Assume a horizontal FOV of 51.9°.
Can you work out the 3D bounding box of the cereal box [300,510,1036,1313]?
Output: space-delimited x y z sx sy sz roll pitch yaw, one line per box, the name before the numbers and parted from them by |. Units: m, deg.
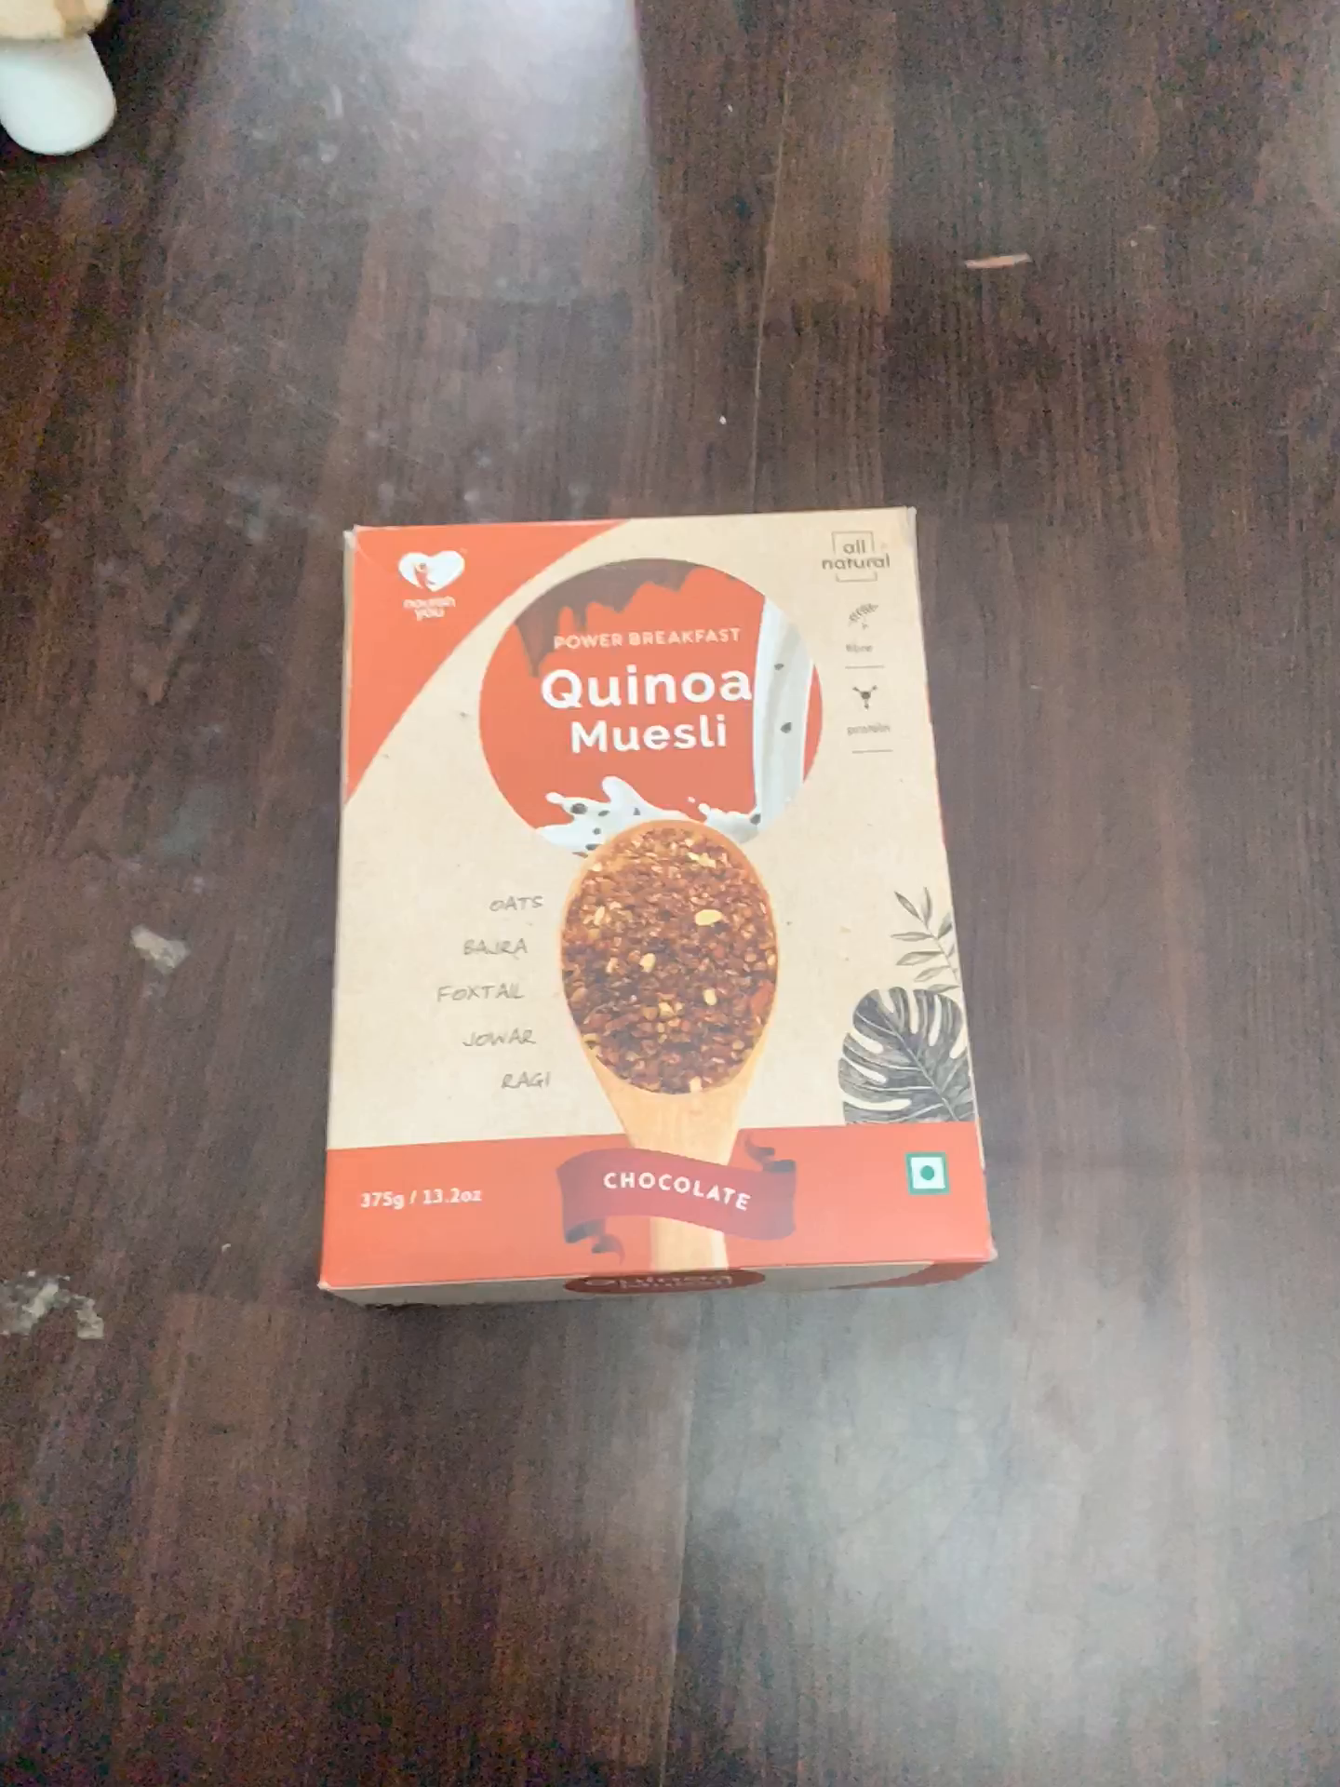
cereal box | -0.003 0.003 0.389 0.170 0.070 0.210 -2 69 0
